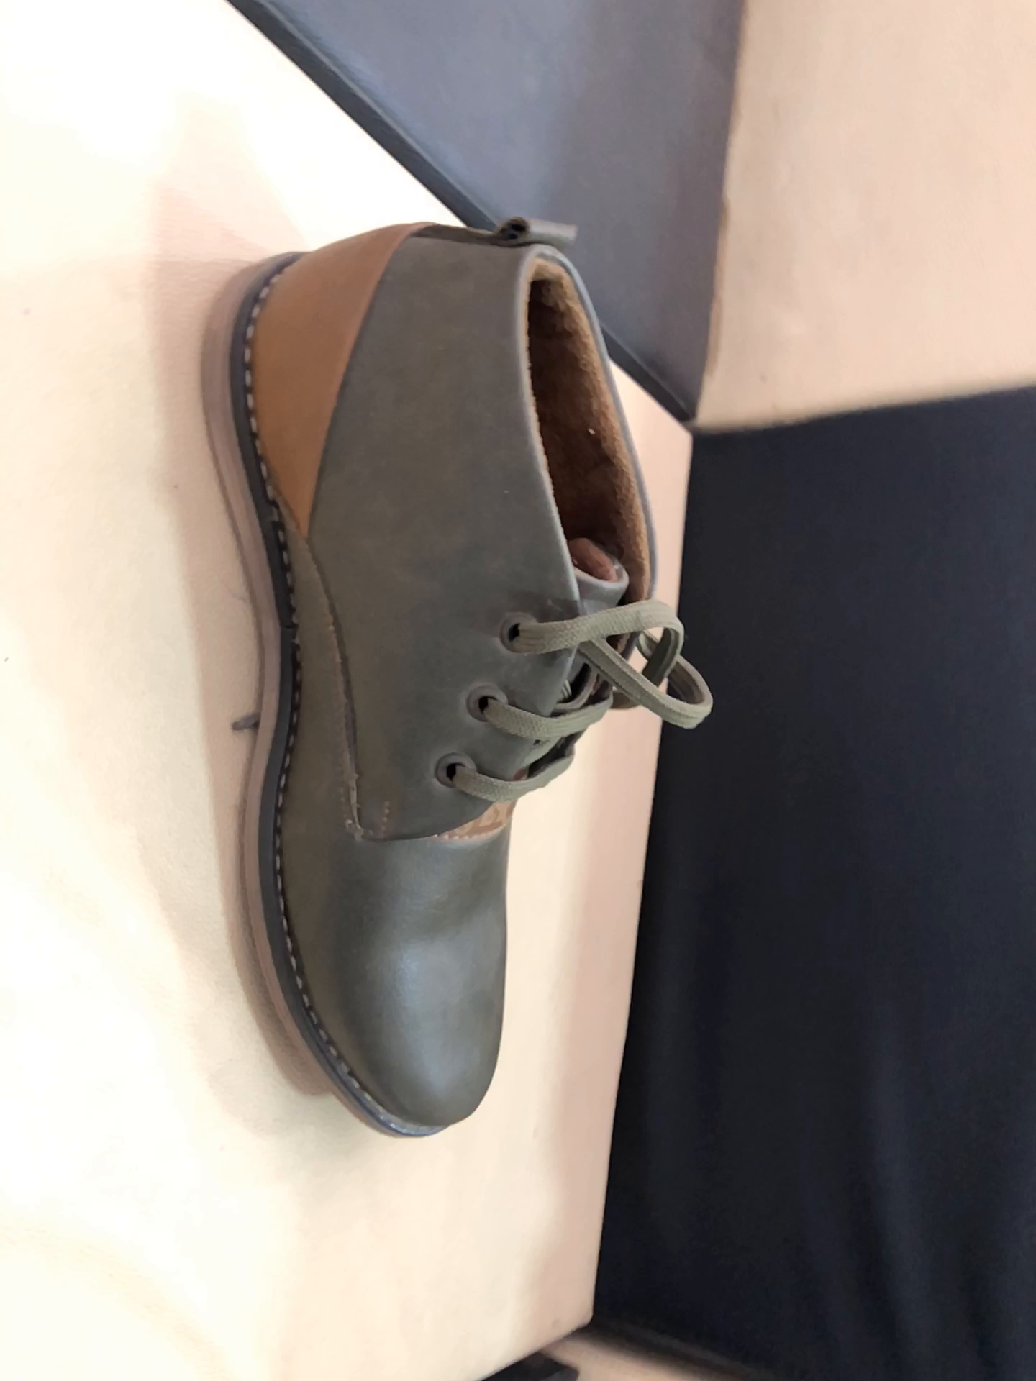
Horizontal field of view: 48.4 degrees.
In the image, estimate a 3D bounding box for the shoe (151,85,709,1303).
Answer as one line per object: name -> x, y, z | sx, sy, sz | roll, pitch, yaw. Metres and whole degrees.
shoe -> -0.017, 0.005, 0.320 | 0.081, 0.099, 0.280 | -19, 107, -55
